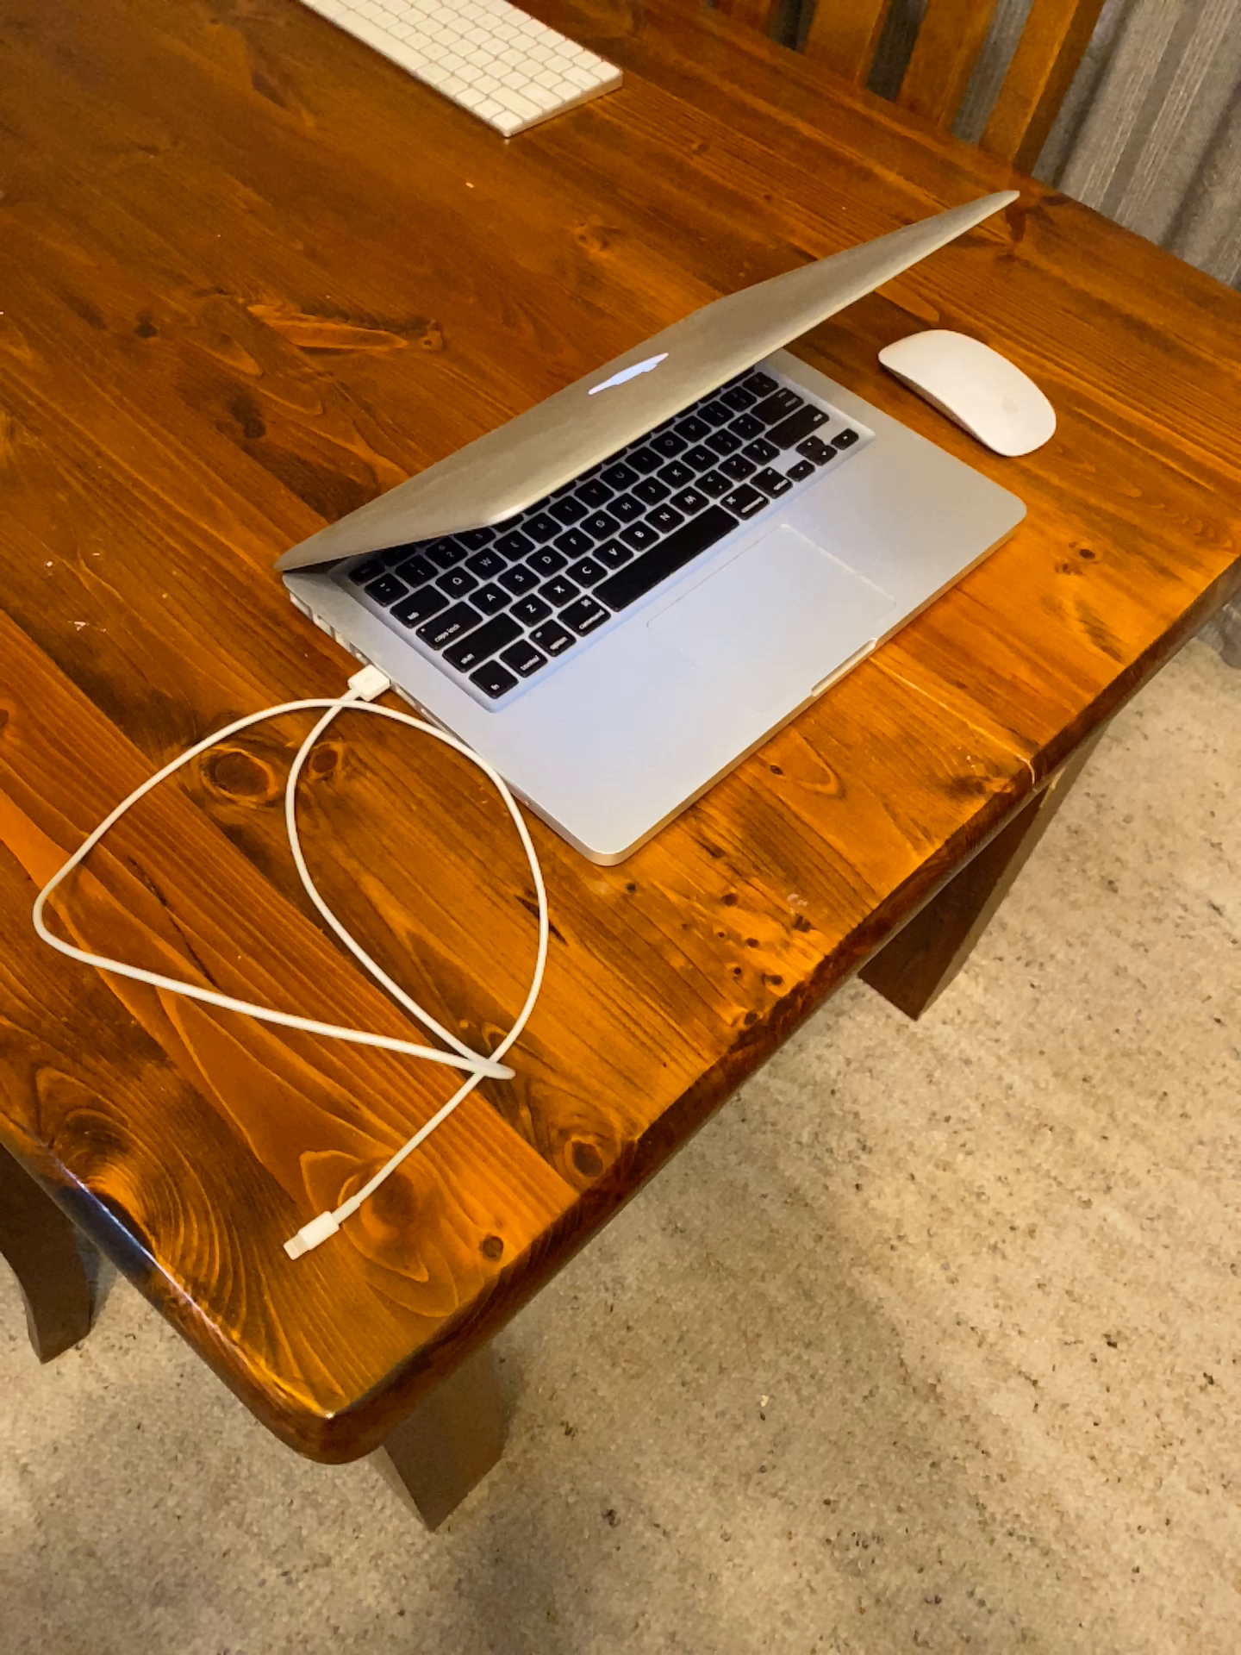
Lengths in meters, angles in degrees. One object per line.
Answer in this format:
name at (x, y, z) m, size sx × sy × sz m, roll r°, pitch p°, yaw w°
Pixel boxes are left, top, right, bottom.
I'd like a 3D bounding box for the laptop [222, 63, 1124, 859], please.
laptop at (0.029, -0.179, 0.567) m, size 0.211 × 0.136 × 0.311 m, roll 41°, pitch 62°, yaw 20°
